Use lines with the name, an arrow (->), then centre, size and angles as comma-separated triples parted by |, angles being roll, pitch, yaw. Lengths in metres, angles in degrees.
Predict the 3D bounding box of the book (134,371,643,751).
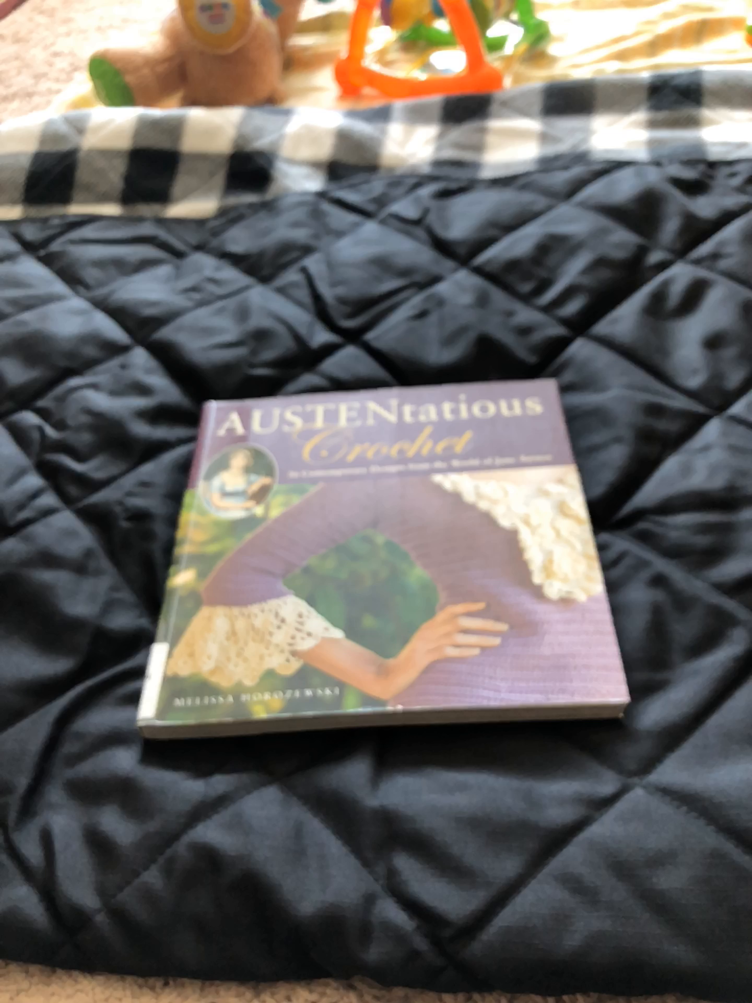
book -> 0.004, 0.017, 0.453 | 0.220, 0.020, 0.230 | -4, 45, 4
